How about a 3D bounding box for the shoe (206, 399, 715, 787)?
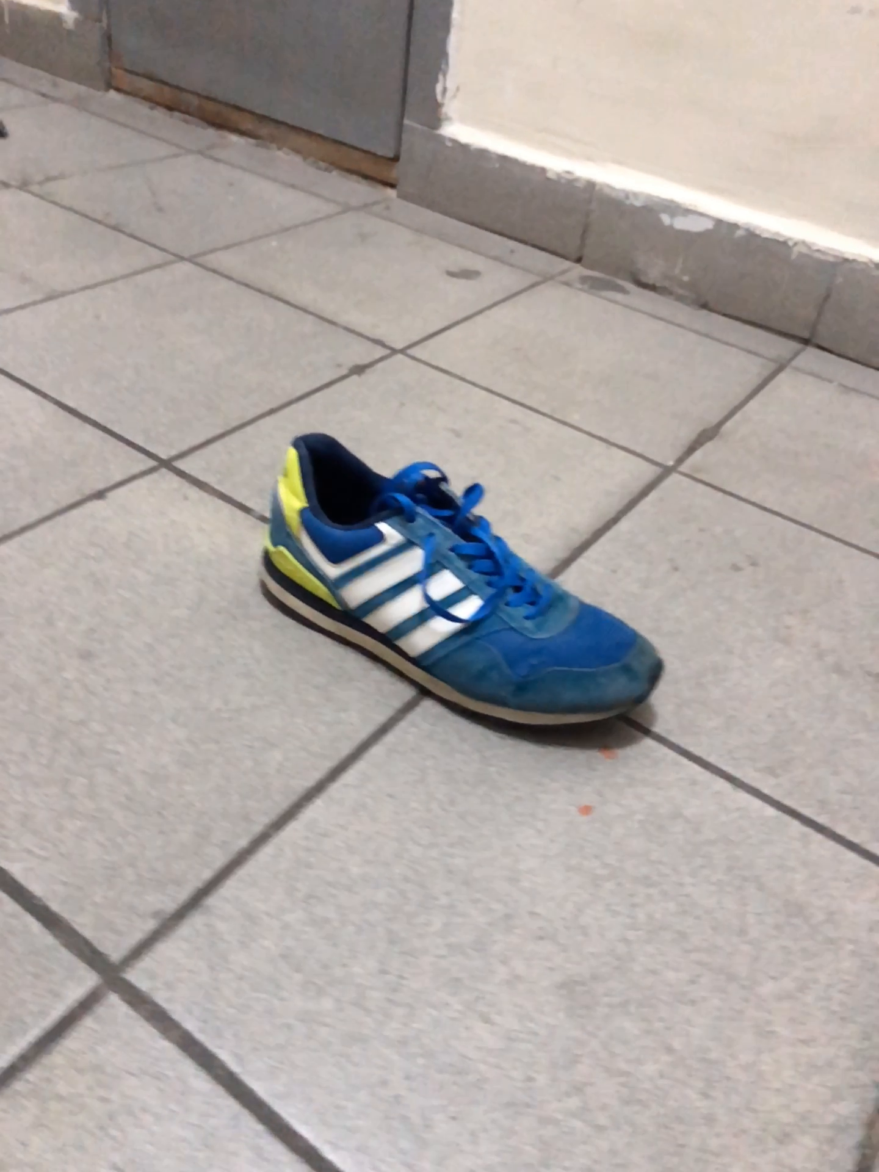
[{"bbox_3d":[0.005,-0.007,0.612,0.292,0.099,0.111,24,40,19],"label":"shoe"}]
